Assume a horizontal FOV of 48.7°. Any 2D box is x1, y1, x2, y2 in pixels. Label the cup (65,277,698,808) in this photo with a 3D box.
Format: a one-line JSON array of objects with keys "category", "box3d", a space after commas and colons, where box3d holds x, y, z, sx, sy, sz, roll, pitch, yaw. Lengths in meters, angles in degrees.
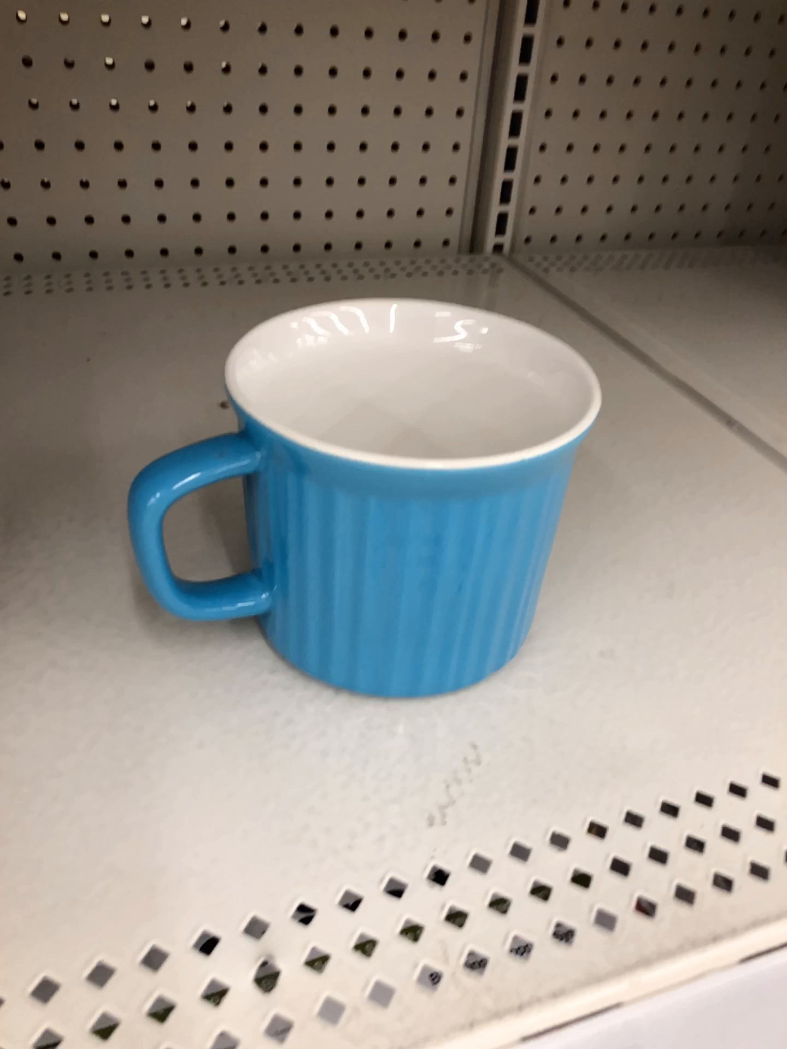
[{"category": "cup", "box3d": [-0.009, -0.010, 0.304, 0.161, 0.093, 0.126, -17, 40, -28]}]
